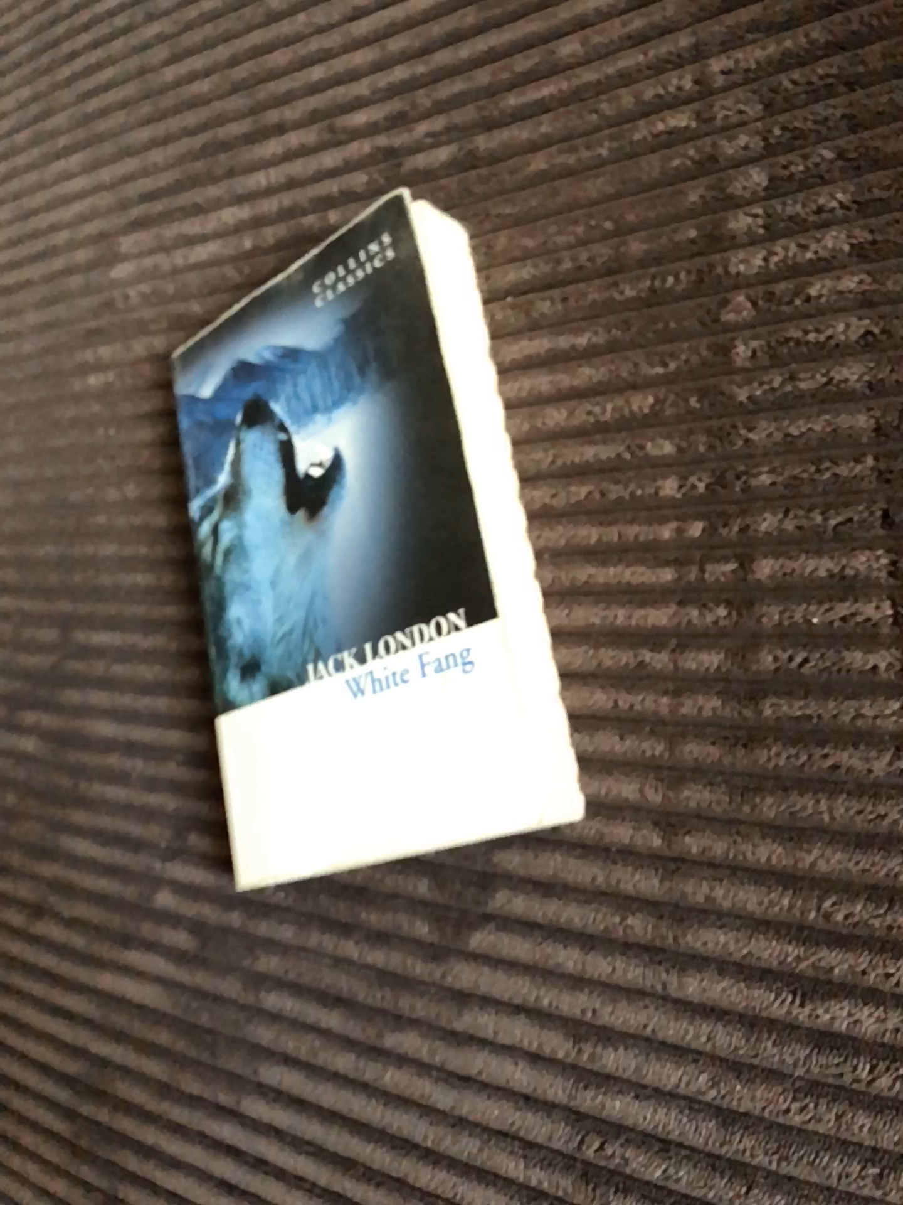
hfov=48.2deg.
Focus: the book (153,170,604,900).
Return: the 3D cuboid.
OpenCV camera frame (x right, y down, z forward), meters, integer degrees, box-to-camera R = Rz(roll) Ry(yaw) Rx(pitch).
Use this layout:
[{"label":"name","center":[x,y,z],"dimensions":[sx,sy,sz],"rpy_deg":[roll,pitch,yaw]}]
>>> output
[{"label":"book","center":[-0.031,-0.012,0.295],"dimensions":[0.115,0.030,0.178],"rpy_deg":[-20,75,38]}]
